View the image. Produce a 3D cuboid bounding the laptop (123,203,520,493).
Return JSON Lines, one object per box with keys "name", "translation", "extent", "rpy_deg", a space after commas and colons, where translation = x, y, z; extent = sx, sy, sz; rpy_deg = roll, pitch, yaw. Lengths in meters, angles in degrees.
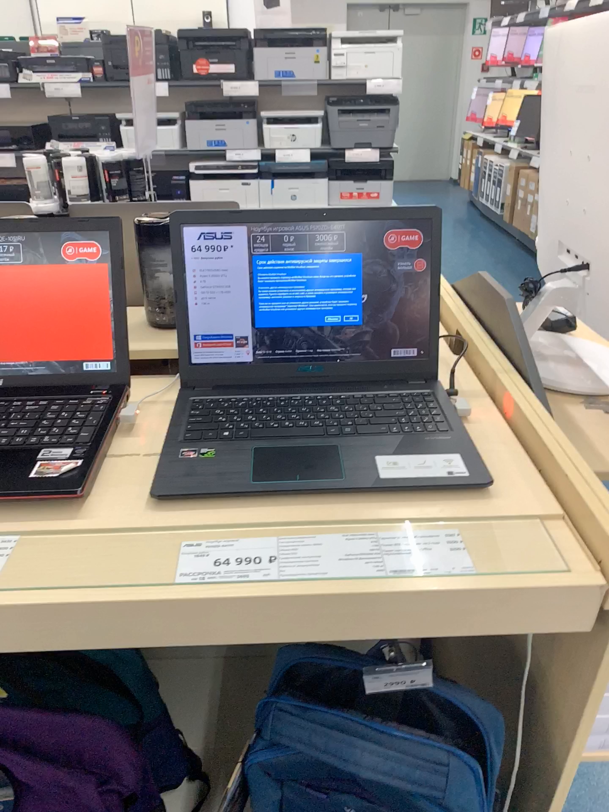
{"name": "laptop", "translation": [0.008, -0.092, 0.749], "extent": [0.358, 0.222, 0.319], "rpy_deg": [-2, 29, -2]}
